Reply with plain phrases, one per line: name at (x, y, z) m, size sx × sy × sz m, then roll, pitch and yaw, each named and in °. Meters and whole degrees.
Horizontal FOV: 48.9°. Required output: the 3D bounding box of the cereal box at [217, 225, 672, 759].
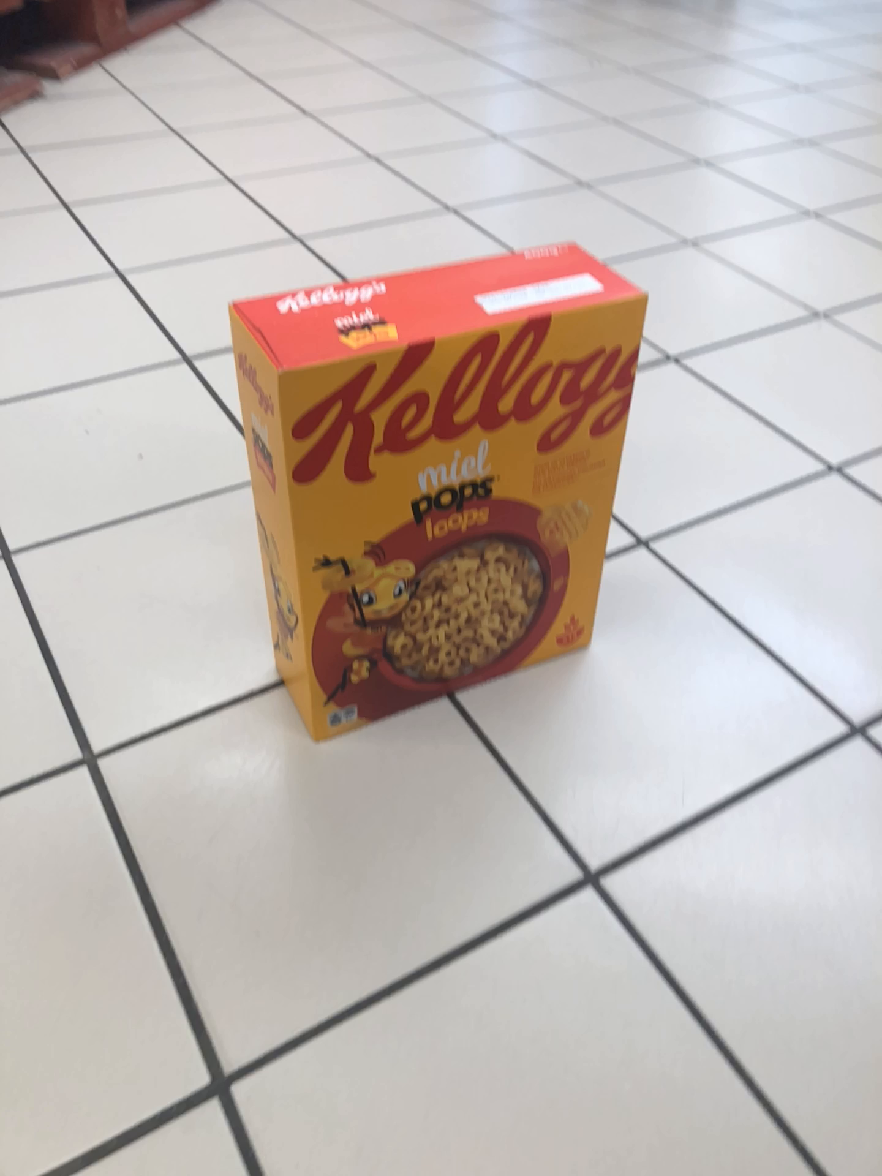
cereal box at (-0.001, -0.048, 0.526) m, size 0.191 × 0.238 × 0.090 m, roll -18°, pitch 46°, yaw -22°
